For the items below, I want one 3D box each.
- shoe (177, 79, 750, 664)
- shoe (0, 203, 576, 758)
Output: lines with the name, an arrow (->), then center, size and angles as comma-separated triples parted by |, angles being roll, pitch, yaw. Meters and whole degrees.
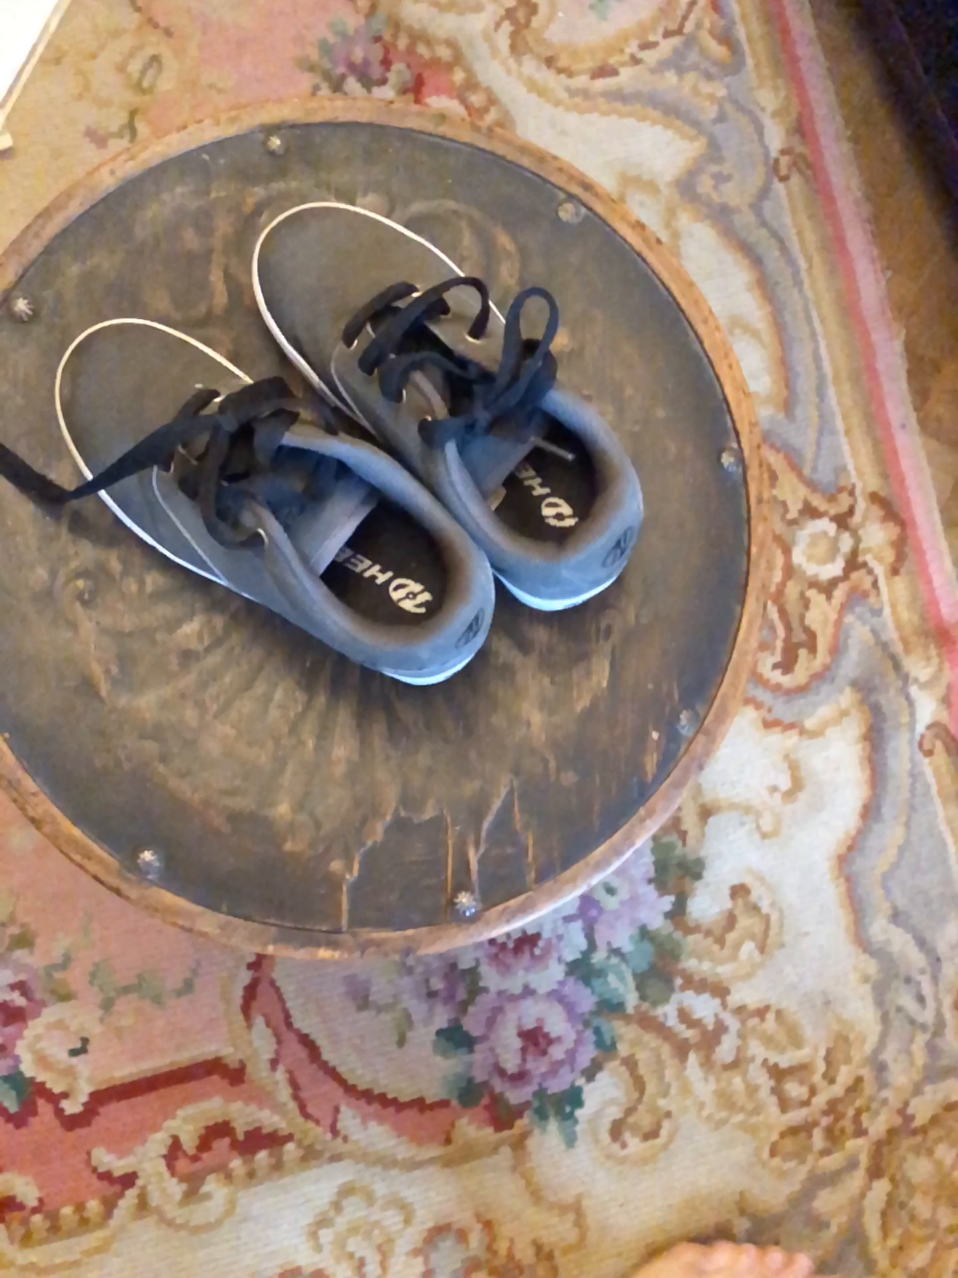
shoe -> -0.009, -0.099, 0.440 | 0.090, 0.100, 0.211 | -45, 90, -7
shoe -> -0.081, -0.053, 0.423 | 0.211, 0.100, 0.090 | 36, 83, -1
